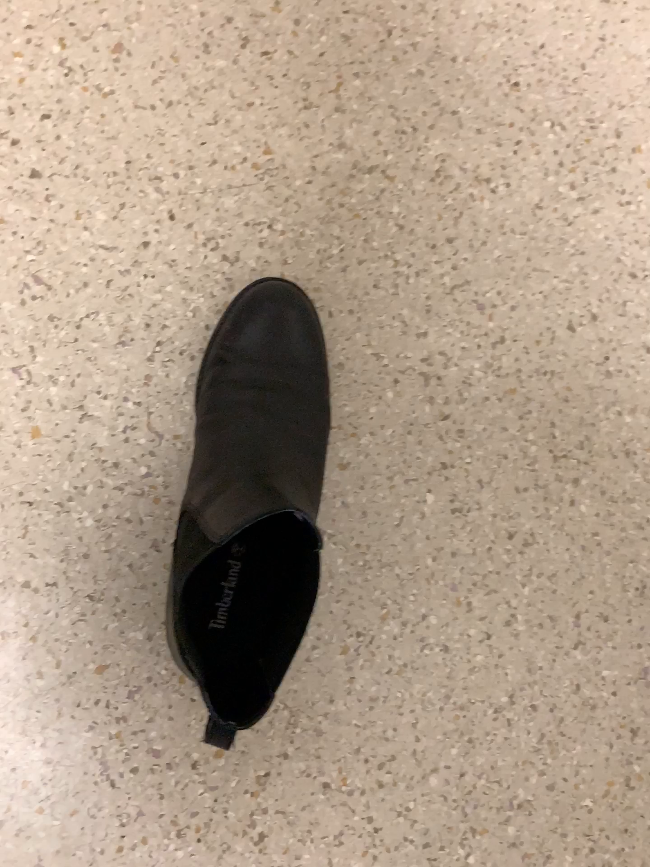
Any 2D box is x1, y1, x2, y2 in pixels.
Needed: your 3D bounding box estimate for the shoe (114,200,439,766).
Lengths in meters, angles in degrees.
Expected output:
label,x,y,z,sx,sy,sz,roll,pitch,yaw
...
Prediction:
label,x,y,z,sx,sy,sz,roll,pitch,yaw
shoe,-0.037,0.029,0.410,0.107,0.164,0.262,14,81,-13
